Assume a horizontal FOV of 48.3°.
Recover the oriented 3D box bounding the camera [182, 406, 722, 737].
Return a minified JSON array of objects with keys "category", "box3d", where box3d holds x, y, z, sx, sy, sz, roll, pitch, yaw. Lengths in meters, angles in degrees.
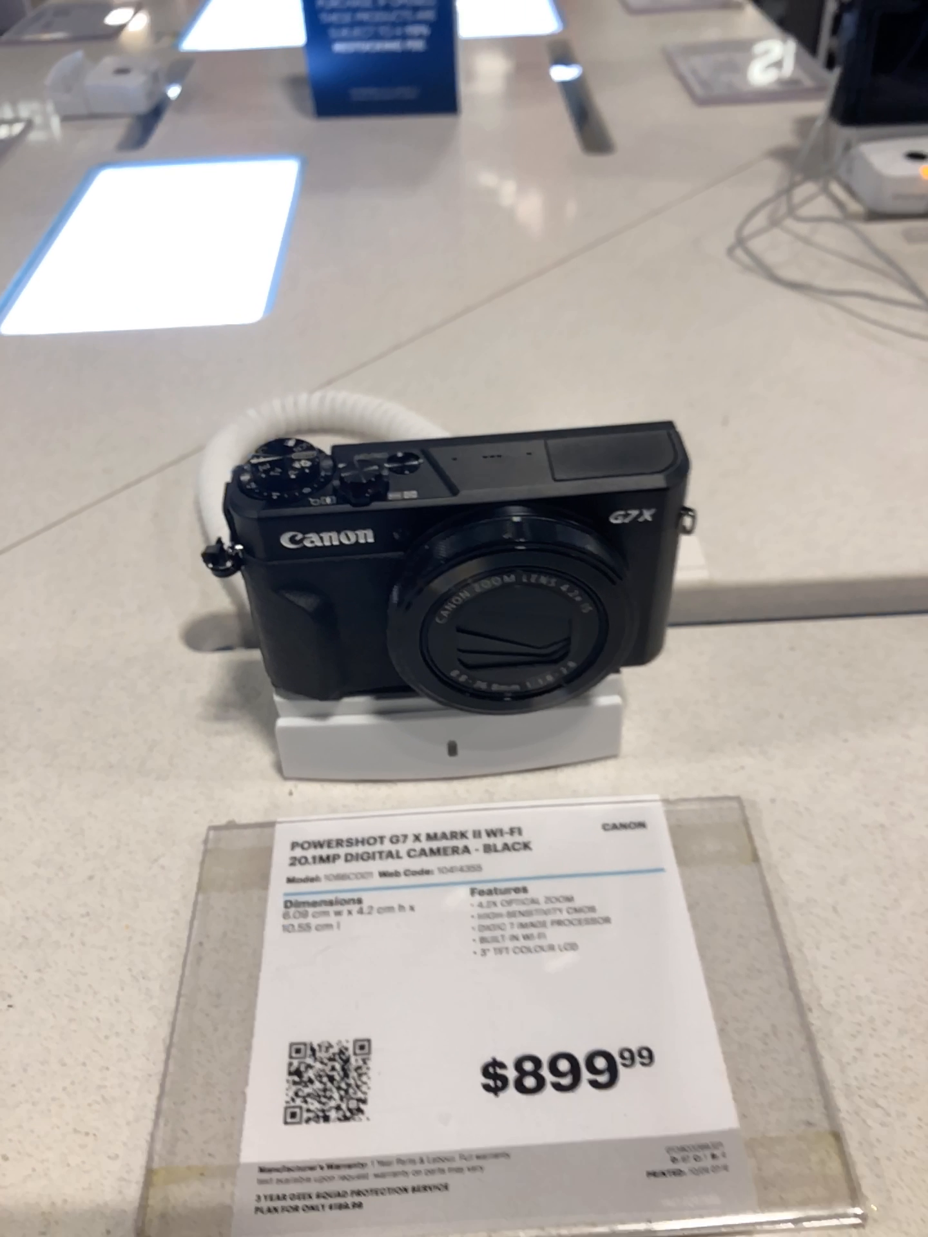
[{"category":"camera","box3d":[-0.002,-0.011,0.245,0.110,0.060,0.040,-4,42,-2]}]
